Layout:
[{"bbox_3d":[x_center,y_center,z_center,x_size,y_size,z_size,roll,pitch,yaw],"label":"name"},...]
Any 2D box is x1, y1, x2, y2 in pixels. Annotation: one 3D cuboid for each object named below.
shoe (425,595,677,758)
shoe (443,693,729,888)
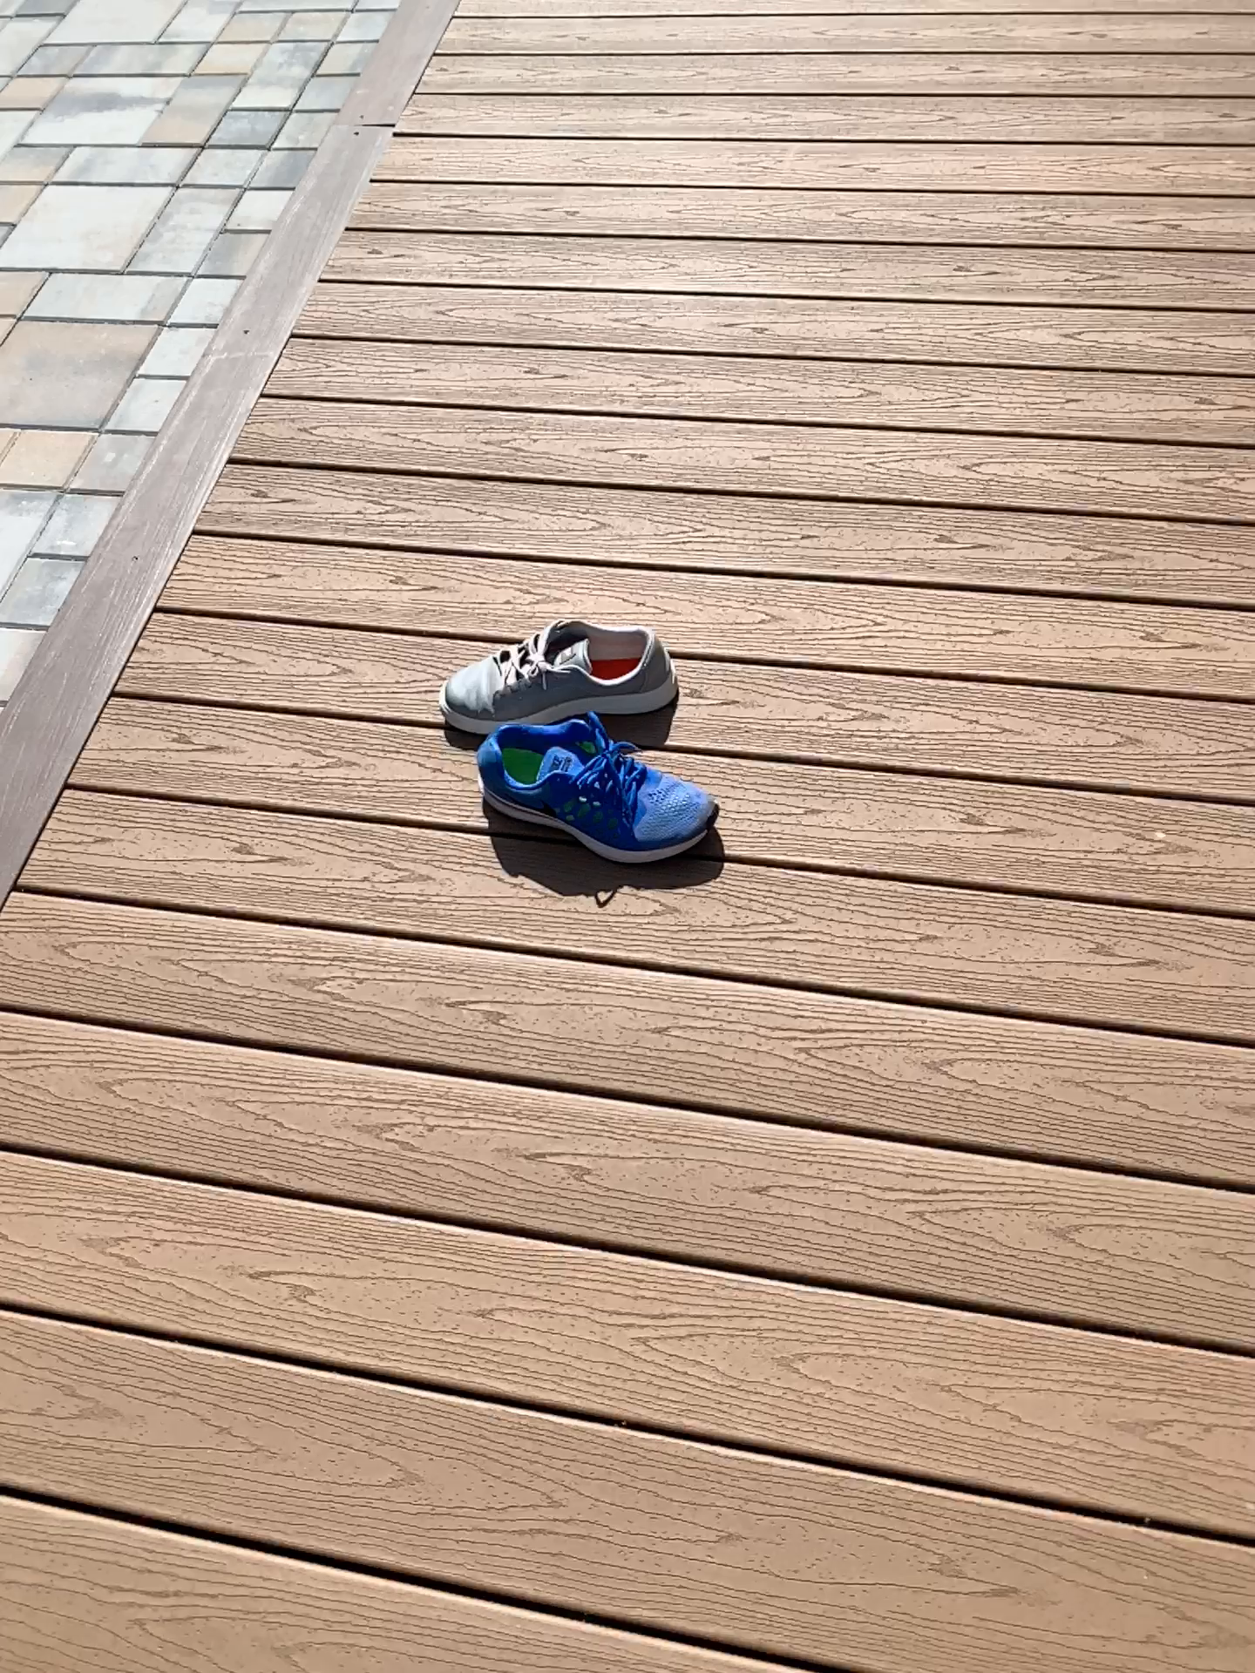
[{"bbox_3d":[-0.090,-0.189,1.522,0.280,0.110,0.110,-8,56,1],"label":"shoe"},{"bbox_3d":[-0.042,-0.052,1.383,0.281,0.090,0.110,17,59,17],"label":"shoe"}]
